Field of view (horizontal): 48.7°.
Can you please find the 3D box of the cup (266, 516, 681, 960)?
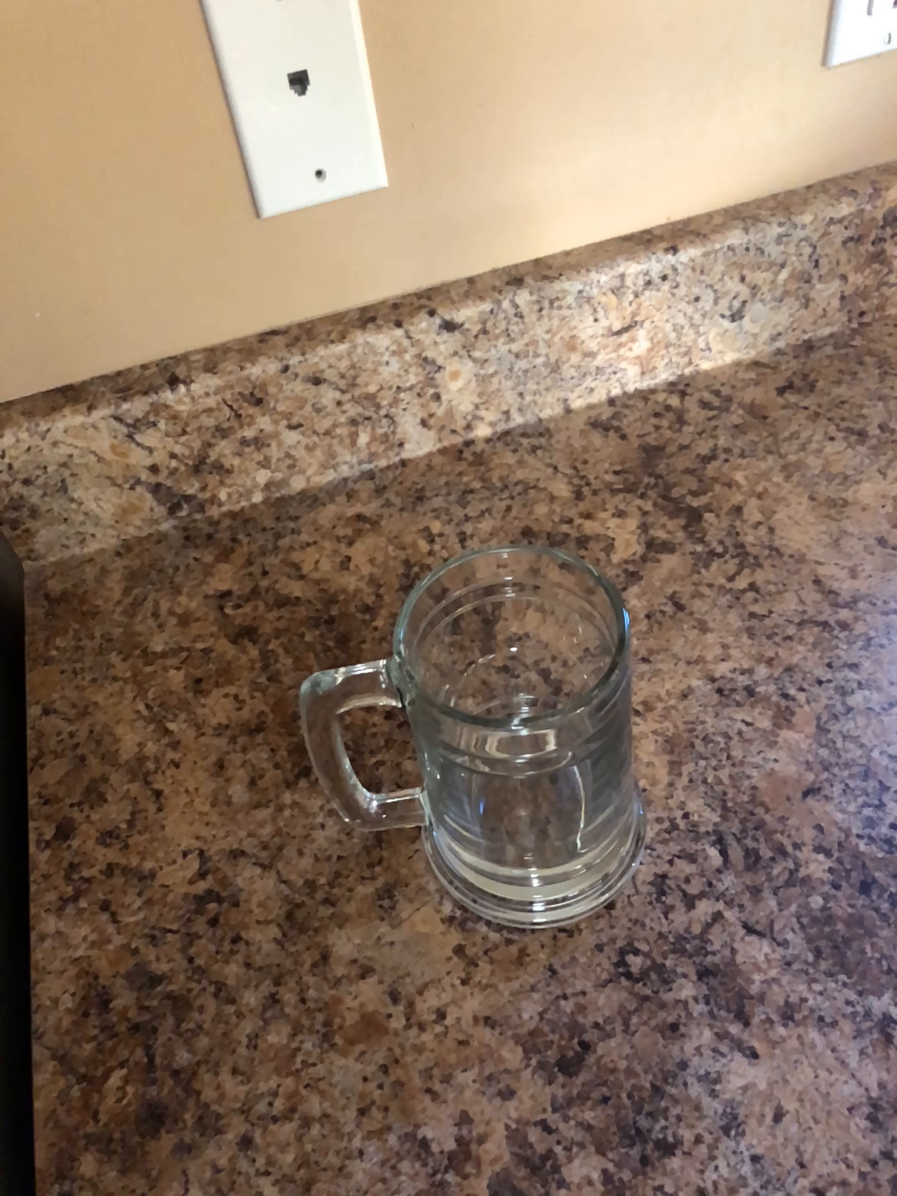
[{"bbox_3d":[0.013,0.060,0.393,0.130,0.139,0.100,-6,47,3],"label":"cup"}]
